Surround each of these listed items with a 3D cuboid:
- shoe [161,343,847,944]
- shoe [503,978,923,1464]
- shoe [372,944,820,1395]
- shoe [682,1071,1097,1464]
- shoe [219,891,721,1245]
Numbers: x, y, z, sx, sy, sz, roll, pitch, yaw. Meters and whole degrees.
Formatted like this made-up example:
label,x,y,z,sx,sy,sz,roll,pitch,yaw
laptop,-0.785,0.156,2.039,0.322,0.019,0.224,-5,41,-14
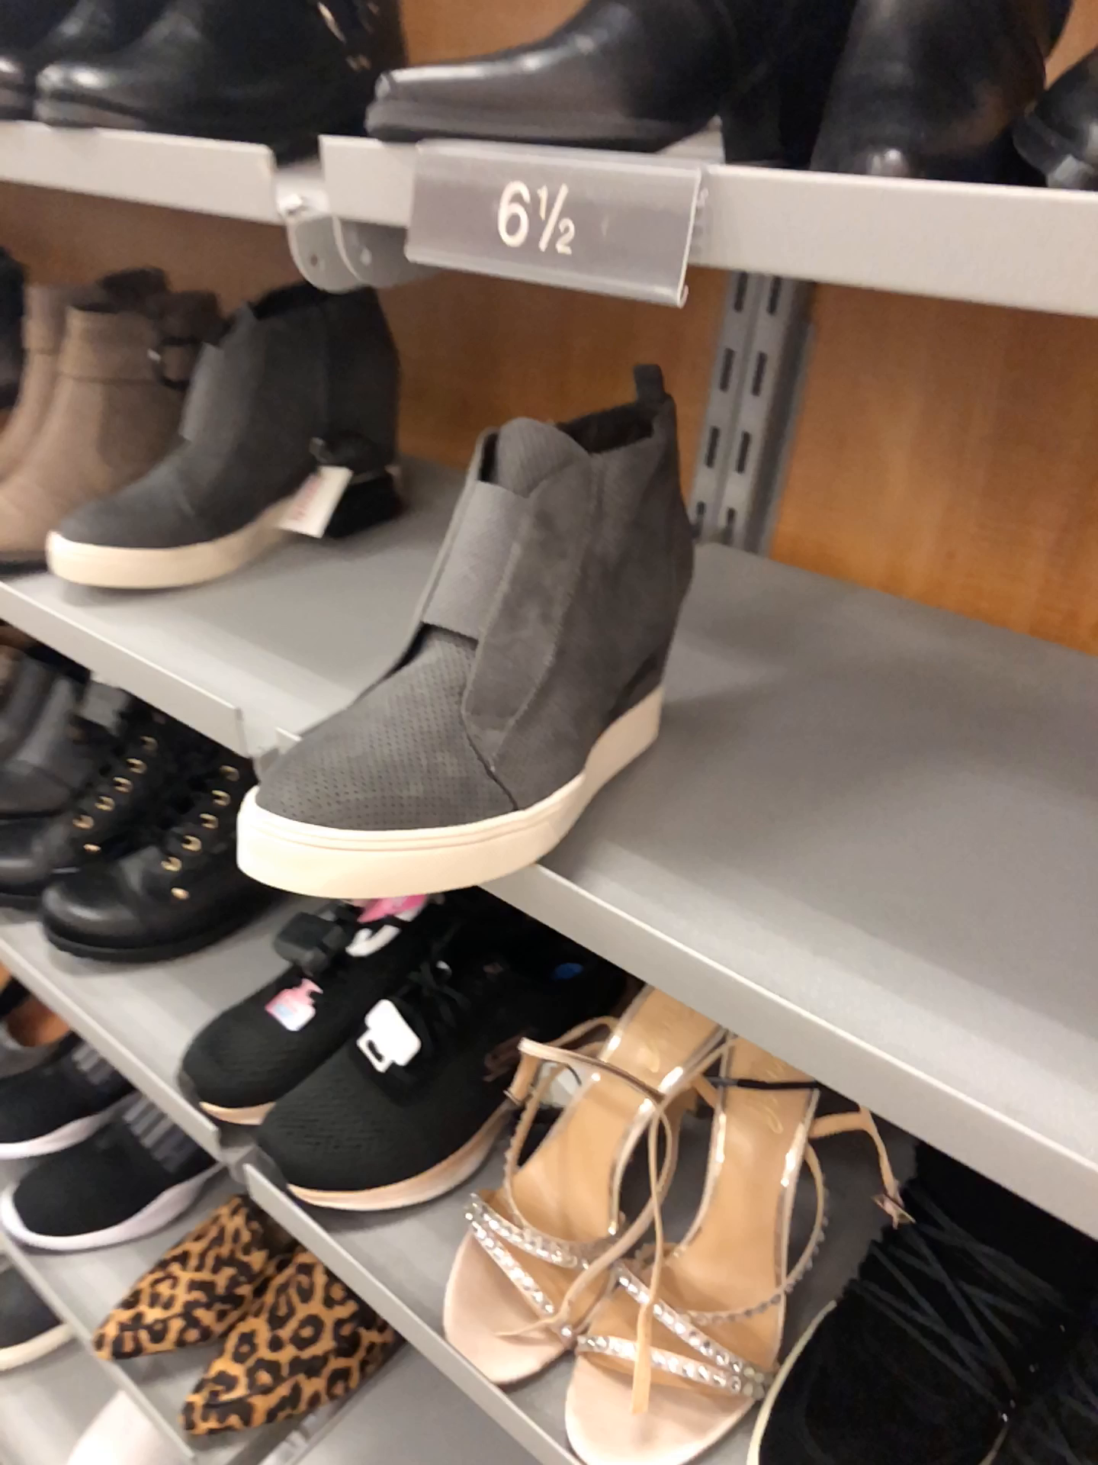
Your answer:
label,x,y,z,sx,sy,sz,roll,pitch,yaw
shoe,-0.005,-0.052,0.498,0.103,0.173,0.274,23,23,34
shoe,0.089,0.231,0.590,0.083,0.089,0.249,21,30,30
shoe,0.033,0.210,0.633,0.083,0.085,0.251,24,30,36
shoe,0.194,0.272,0.564,0.278,0.068,0.104,-20,34,-41
shoe,-0.039,0.180,0.712,0.278,0.065,0.110,-12,29,-38
